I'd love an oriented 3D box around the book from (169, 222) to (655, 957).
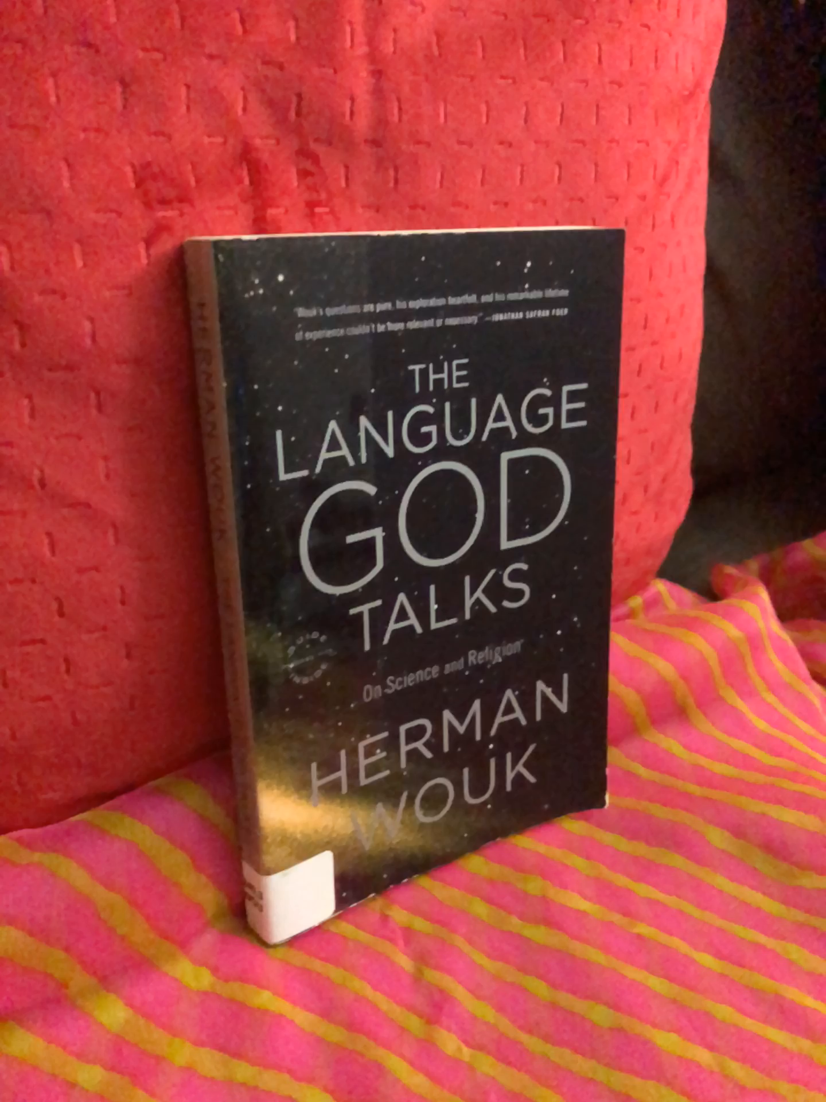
[{"bbox_3d":[0.008,0.006,0.283,0.138,0.199,0.030,-14,23,-31],"label":"book"}]
